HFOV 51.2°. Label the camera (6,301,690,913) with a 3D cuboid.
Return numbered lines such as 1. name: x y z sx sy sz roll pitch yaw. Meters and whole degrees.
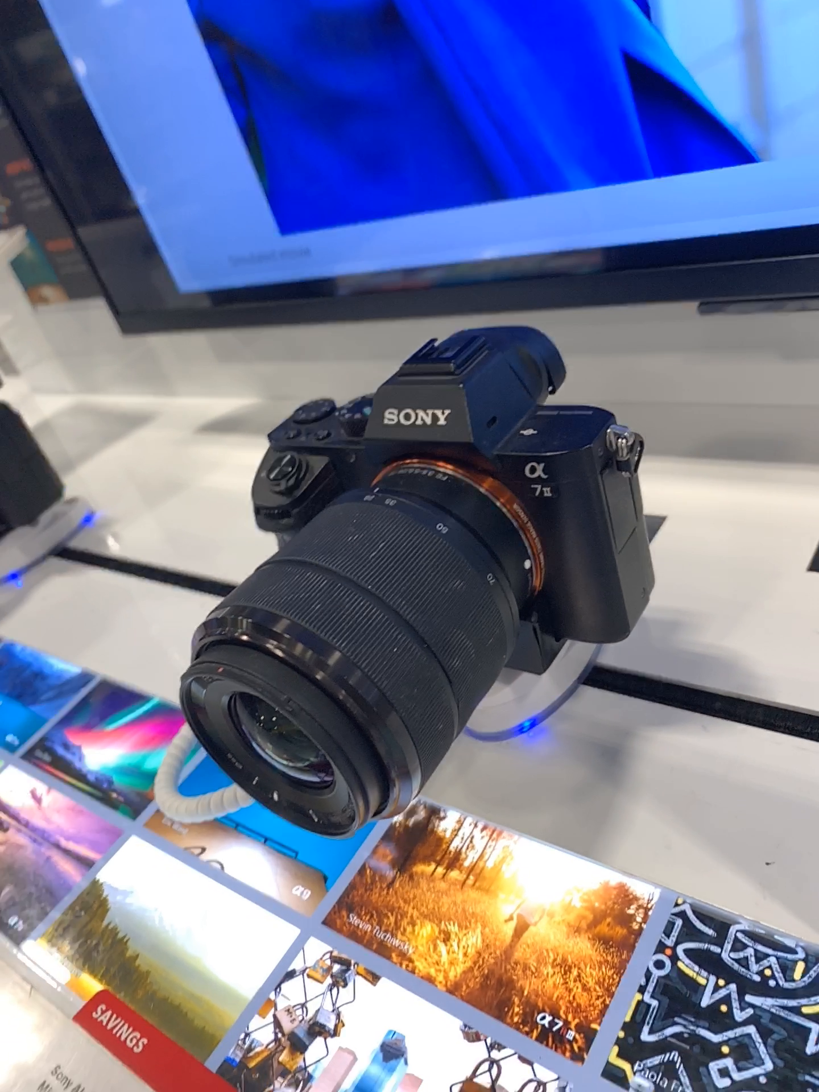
1. camera: -0.009 0.002 0.264 0.129 0.084 0.150 7 42 39
